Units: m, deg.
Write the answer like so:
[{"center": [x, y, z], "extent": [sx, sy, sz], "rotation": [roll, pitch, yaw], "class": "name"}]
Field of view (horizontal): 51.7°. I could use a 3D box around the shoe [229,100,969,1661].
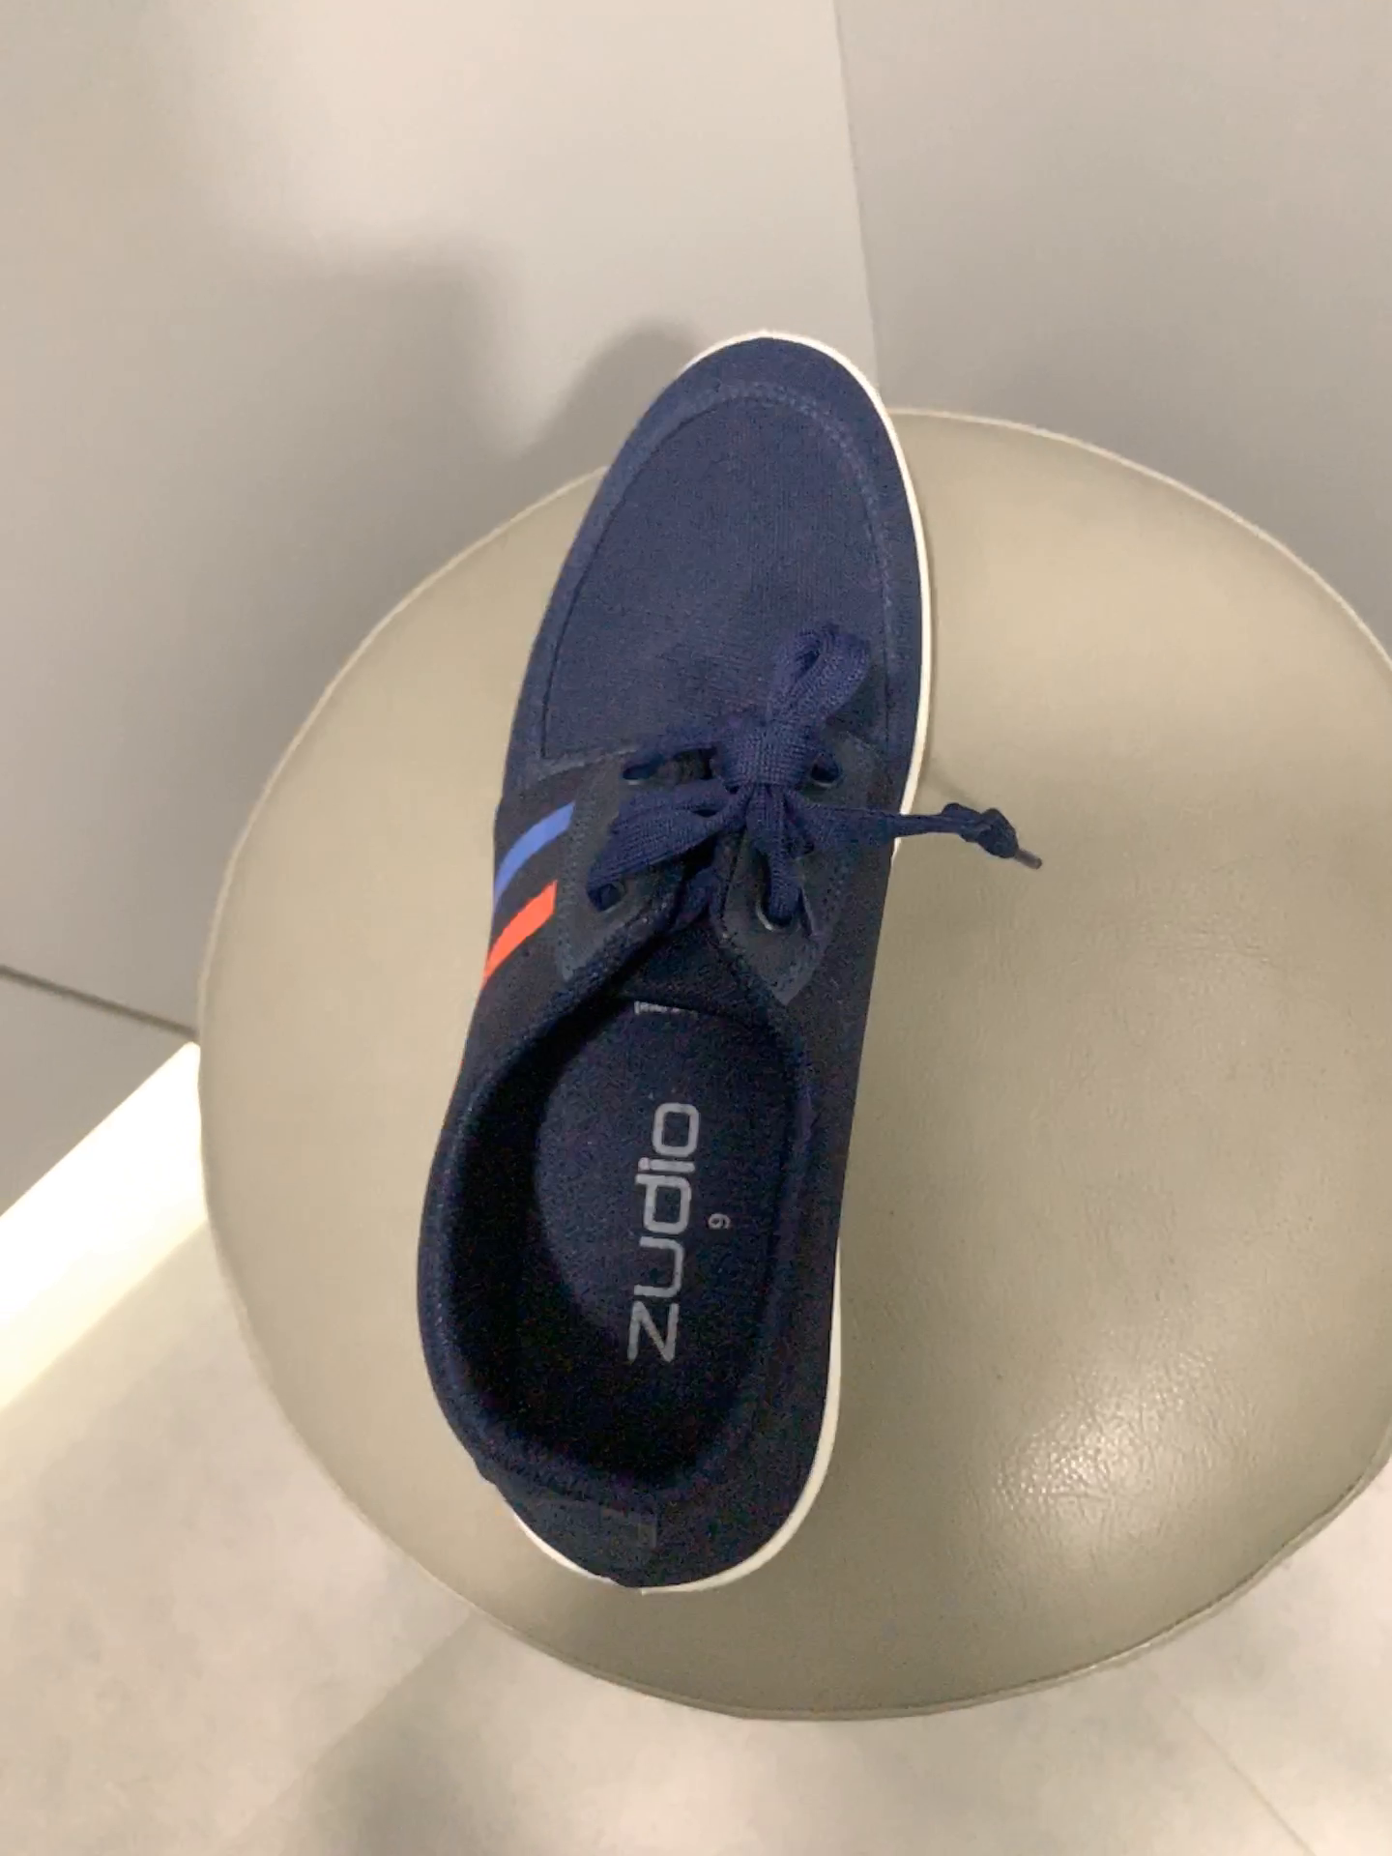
[{"center": [-0.004, -0.017, 0.315], "extent": [0.100, 0.100, 0.290], "rotation": [5, 77, 13], "class": "shoe"}]
